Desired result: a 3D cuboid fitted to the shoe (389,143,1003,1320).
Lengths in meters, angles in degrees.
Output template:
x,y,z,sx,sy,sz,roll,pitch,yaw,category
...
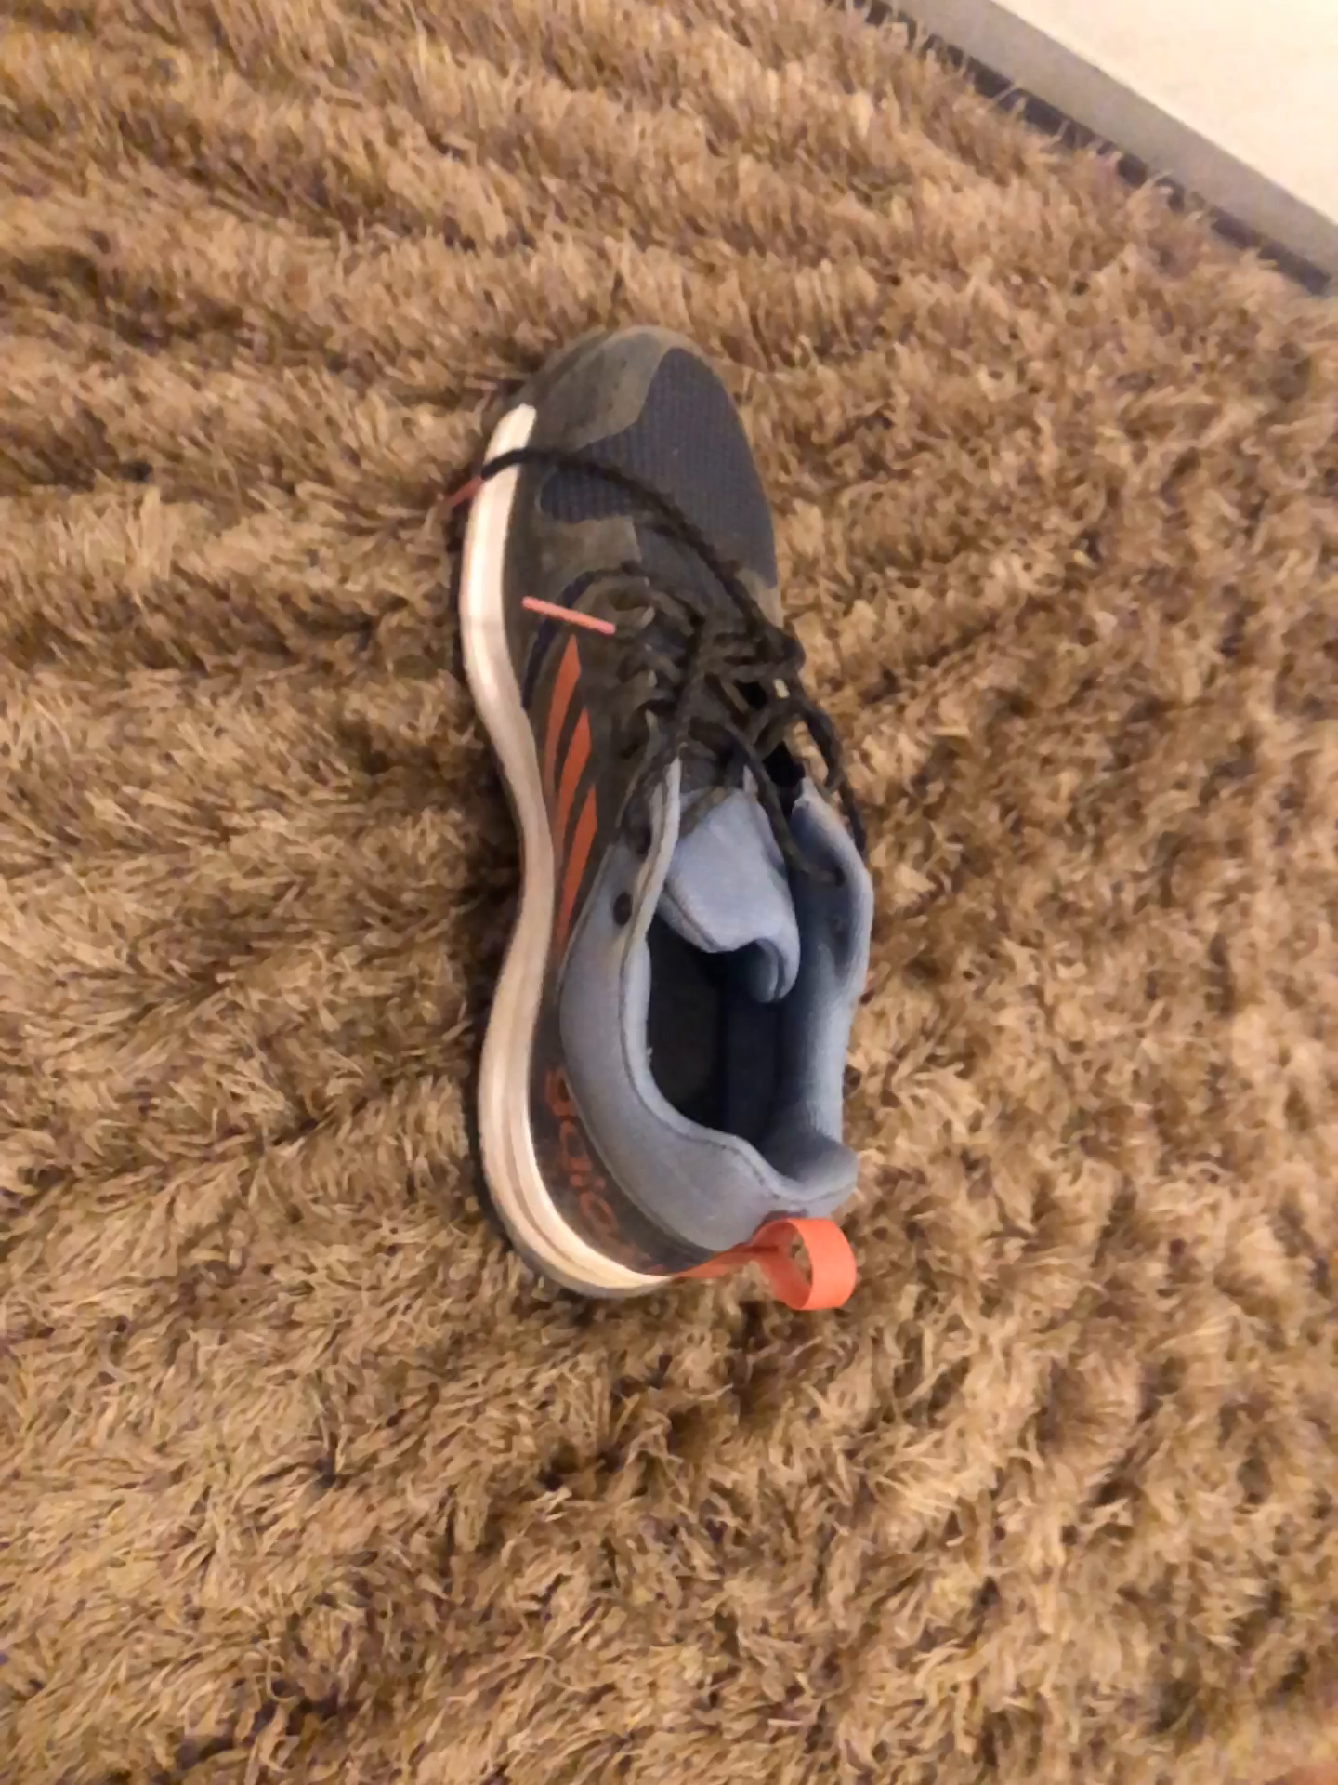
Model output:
x,y,z,sx,sy,sz,roll,pitch,yaw,category
0.007,-0.030,0.406,0.113,0.109,0.275,10,75,-34,shoe
